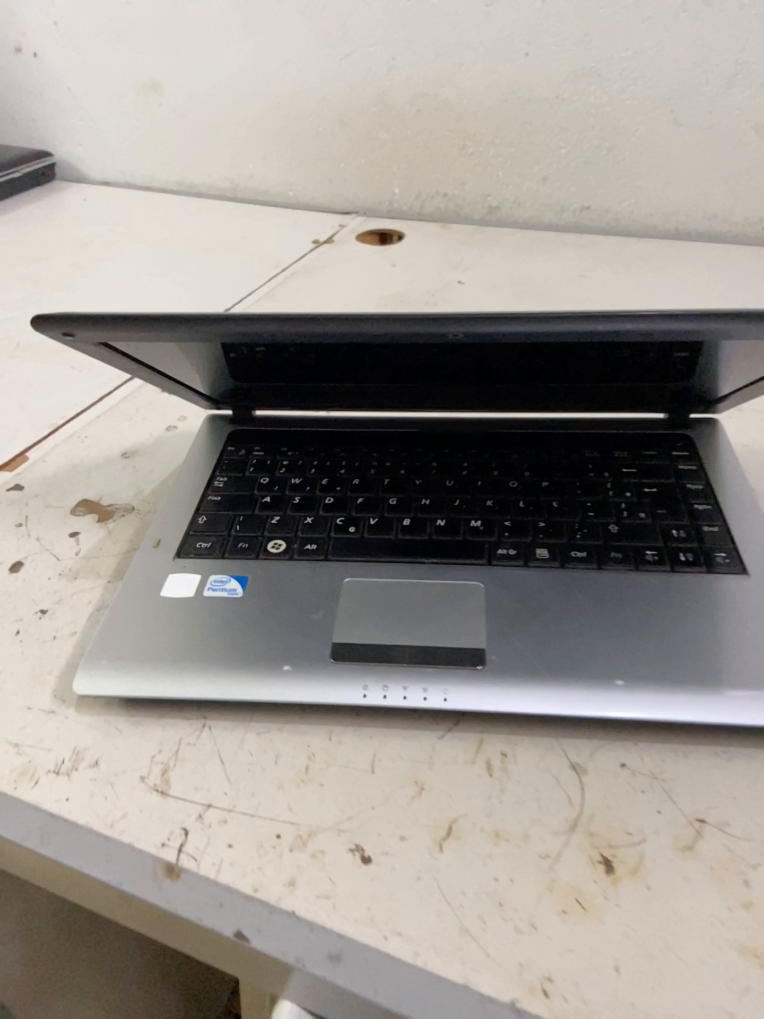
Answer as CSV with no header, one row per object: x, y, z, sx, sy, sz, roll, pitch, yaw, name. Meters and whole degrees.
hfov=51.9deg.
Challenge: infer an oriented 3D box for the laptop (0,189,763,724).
0.037,-0.048,0.396,0.333,0.152,0.242,2,37,5,laptop
